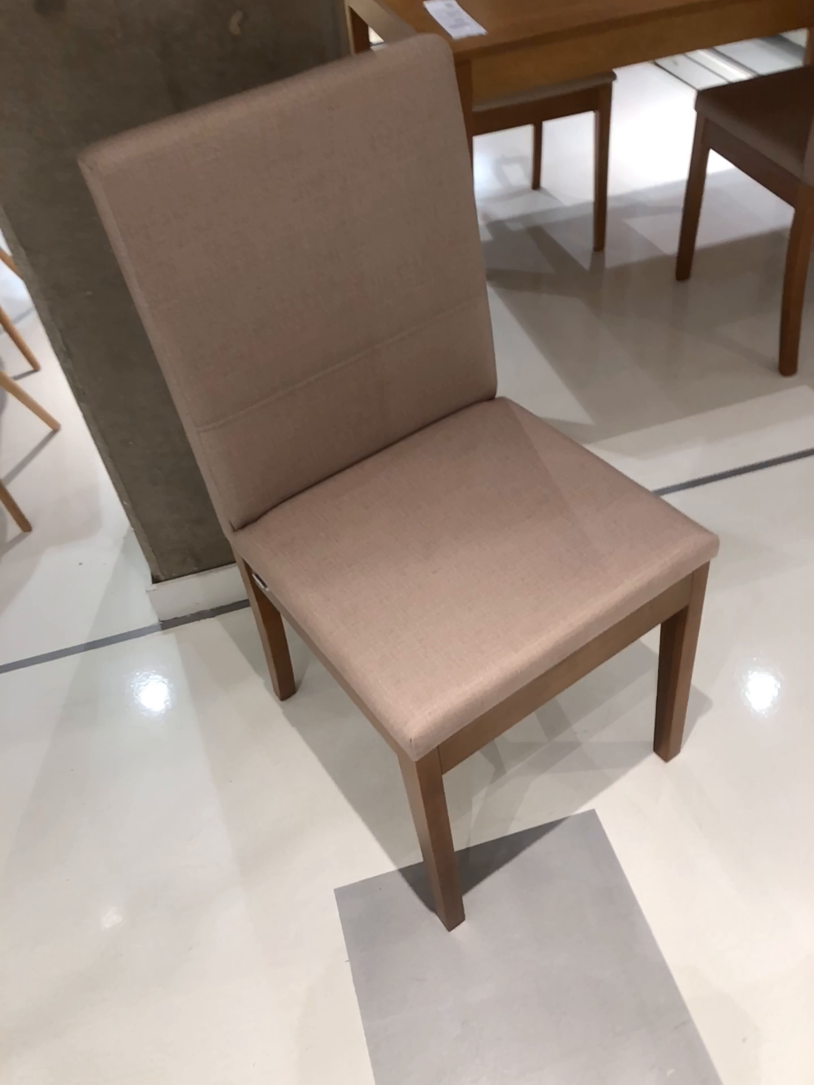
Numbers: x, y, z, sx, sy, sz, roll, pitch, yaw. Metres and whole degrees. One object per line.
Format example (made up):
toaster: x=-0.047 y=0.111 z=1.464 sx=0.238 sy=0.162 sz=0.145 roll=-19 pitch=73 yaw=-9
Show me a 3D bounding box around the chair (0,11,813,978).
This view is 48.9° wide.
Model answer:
chair: x=0.032 y=-0.028 z=1.126 sx=0.561 sy=0.933 sz=0.543 roll=-29 pitch=48 yaw=-20
